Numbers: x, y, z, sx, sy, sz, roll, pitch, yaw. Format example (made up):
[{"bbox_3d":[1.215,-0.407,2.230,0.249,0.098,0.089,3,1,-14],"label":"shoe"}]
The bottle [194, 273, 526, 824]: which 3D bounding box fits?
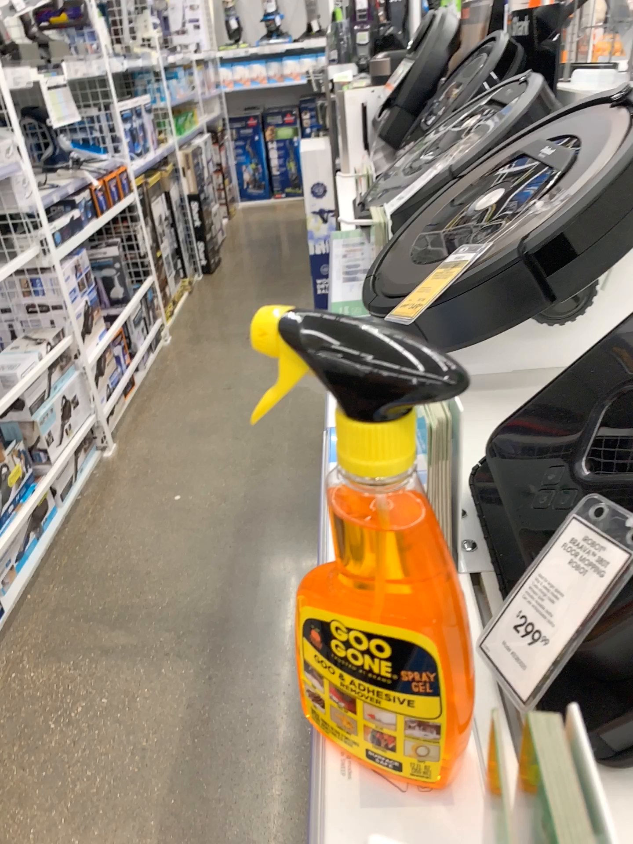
[{"bbox_3d":[0.024,0.059,0.275,0.100,0.226,0.050,13,35,30],"label":"bottle"}]
